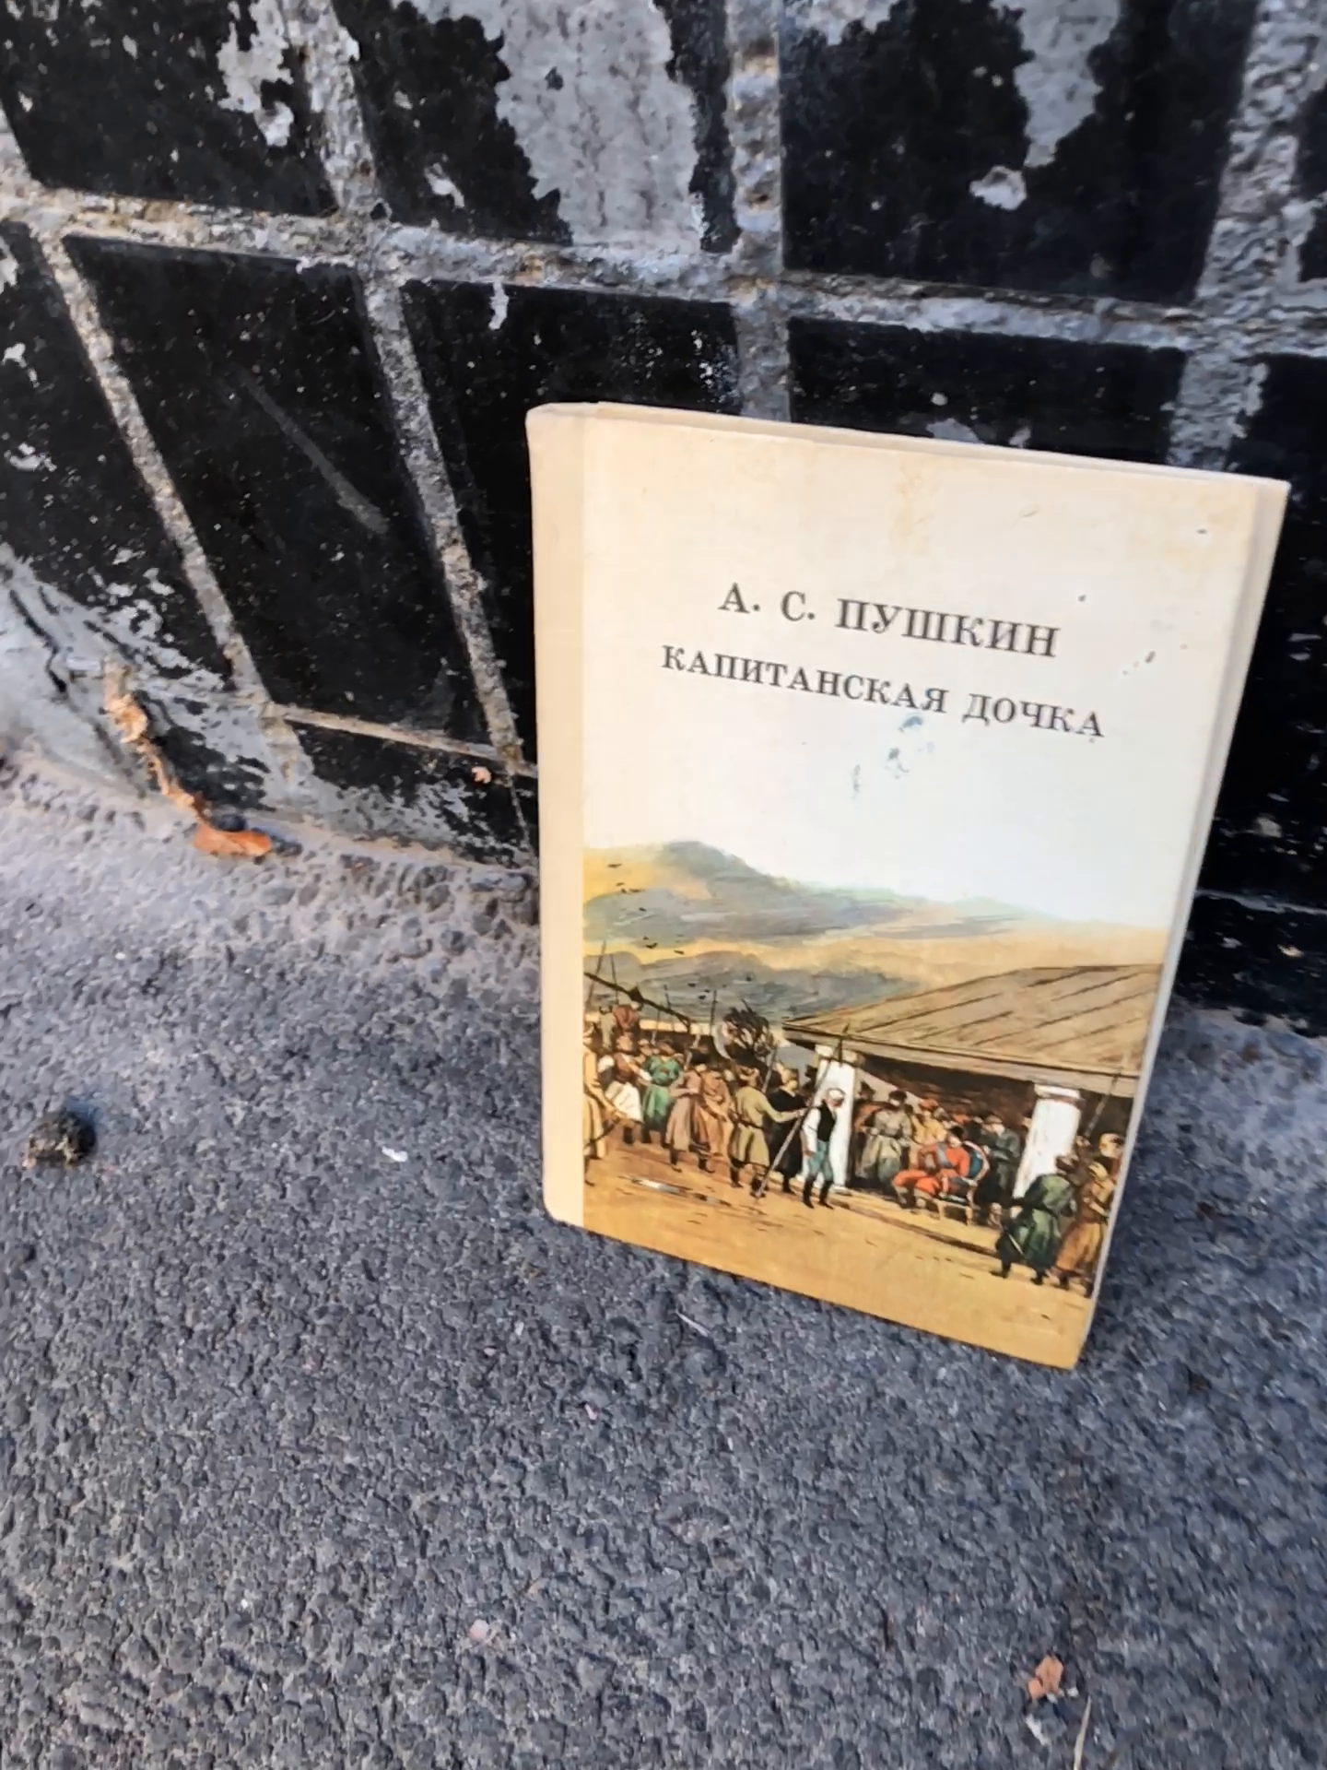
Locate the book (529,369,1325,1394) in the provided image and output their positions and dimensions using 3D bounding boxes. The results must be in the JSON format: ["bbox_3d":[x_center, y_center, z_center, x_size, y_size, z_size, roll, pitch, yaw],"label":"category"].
[{"bbox_3d":[0.041,0.008,0.326,0.145,0.215,0.023,13,31,17],"label":"book"}]
